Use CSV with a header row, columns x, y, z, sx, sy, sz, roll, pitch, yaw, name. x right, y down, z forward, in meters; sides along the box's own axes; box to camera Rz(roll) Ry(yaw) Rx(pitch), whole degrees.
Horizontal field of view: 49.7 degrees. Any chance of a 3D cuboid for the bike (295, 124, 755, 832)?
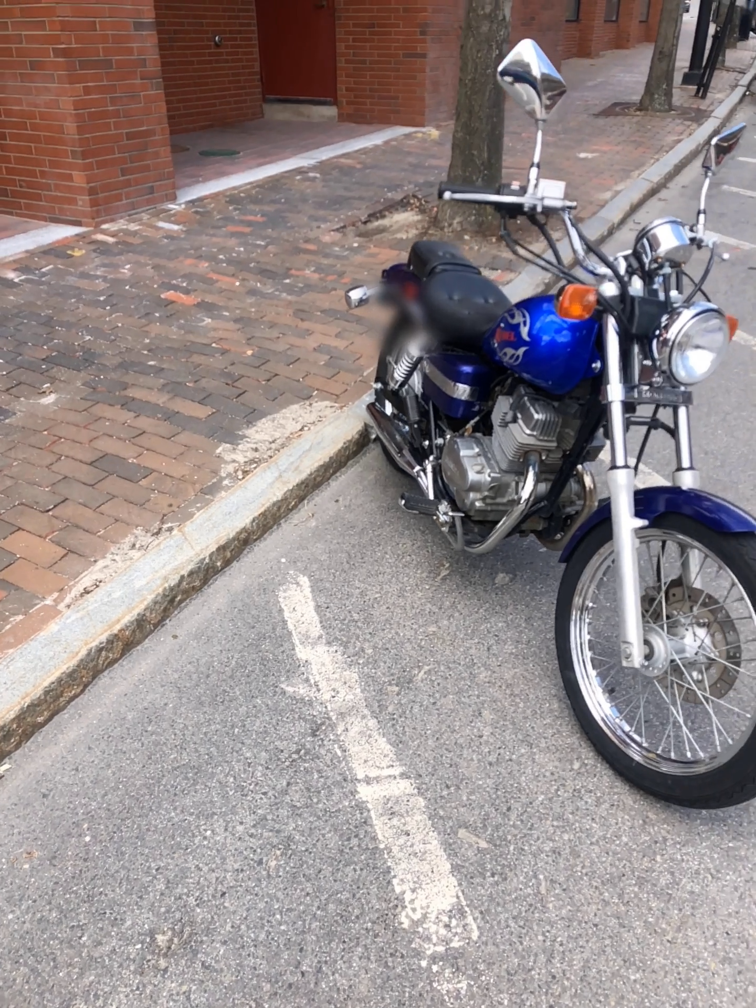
x,y,z,sx,sy,sz,roll,pitch,yaw,name
0.471,-0.345,2.048,0.788,1.037,1.917,-11,29,-18,bike
